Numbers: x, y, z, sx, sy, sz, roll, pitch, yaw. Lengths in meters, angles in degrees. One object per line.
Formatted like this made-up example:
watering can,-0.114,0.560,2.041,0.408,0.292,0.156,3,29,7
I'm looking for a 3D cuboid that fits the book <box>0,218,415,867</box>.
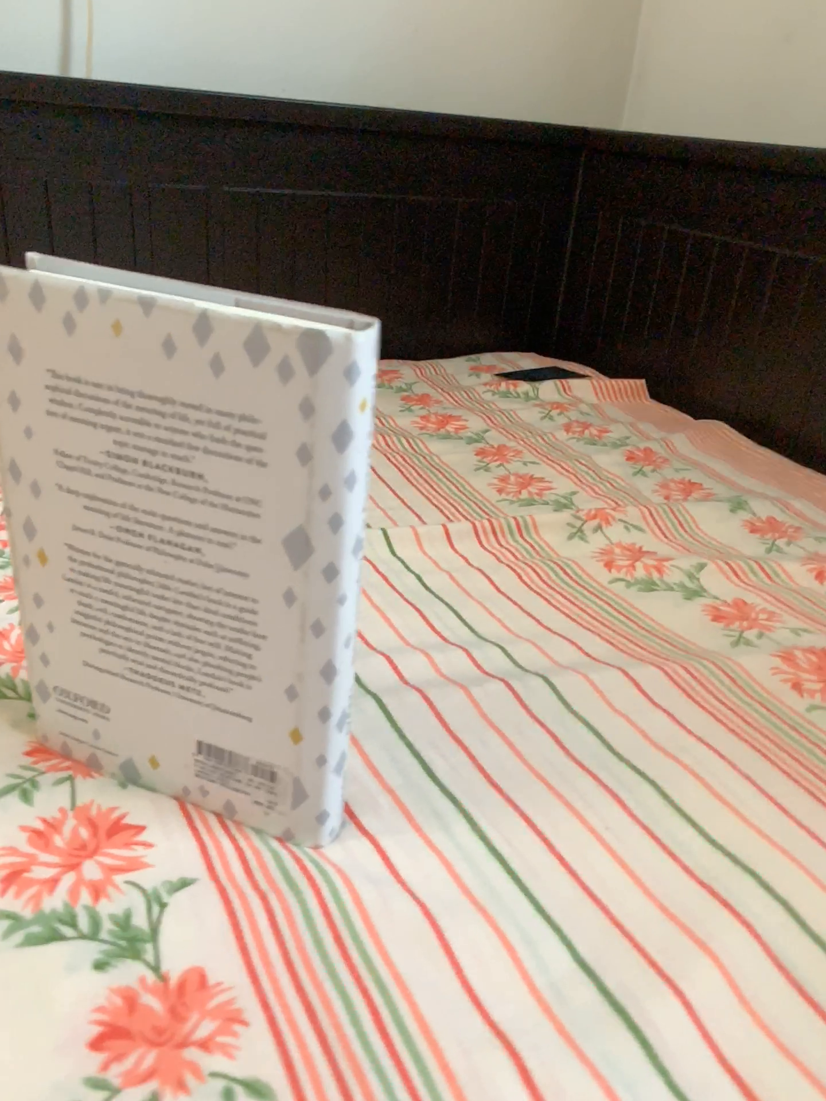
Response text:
book,-0.088,0.002,0.320,0.160,0.218,0.030,15,29,17
